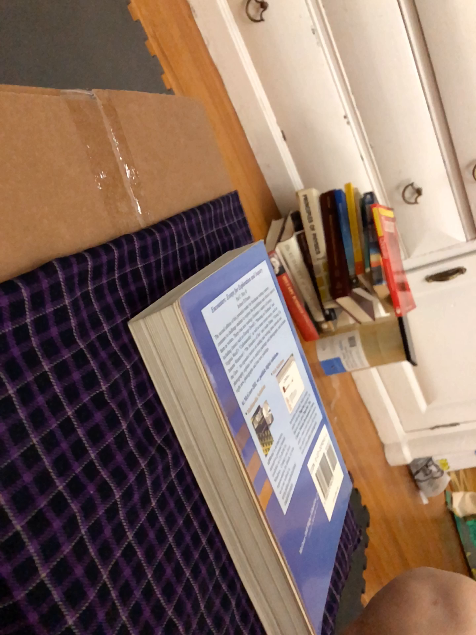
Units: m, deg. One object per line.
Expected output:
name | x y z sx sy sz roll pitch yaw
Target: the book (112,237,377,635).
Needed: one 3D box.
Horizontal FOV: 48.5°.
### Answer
book | 0.029 0.083 0.365 0.240 0.040 0.181 67 27 -14
